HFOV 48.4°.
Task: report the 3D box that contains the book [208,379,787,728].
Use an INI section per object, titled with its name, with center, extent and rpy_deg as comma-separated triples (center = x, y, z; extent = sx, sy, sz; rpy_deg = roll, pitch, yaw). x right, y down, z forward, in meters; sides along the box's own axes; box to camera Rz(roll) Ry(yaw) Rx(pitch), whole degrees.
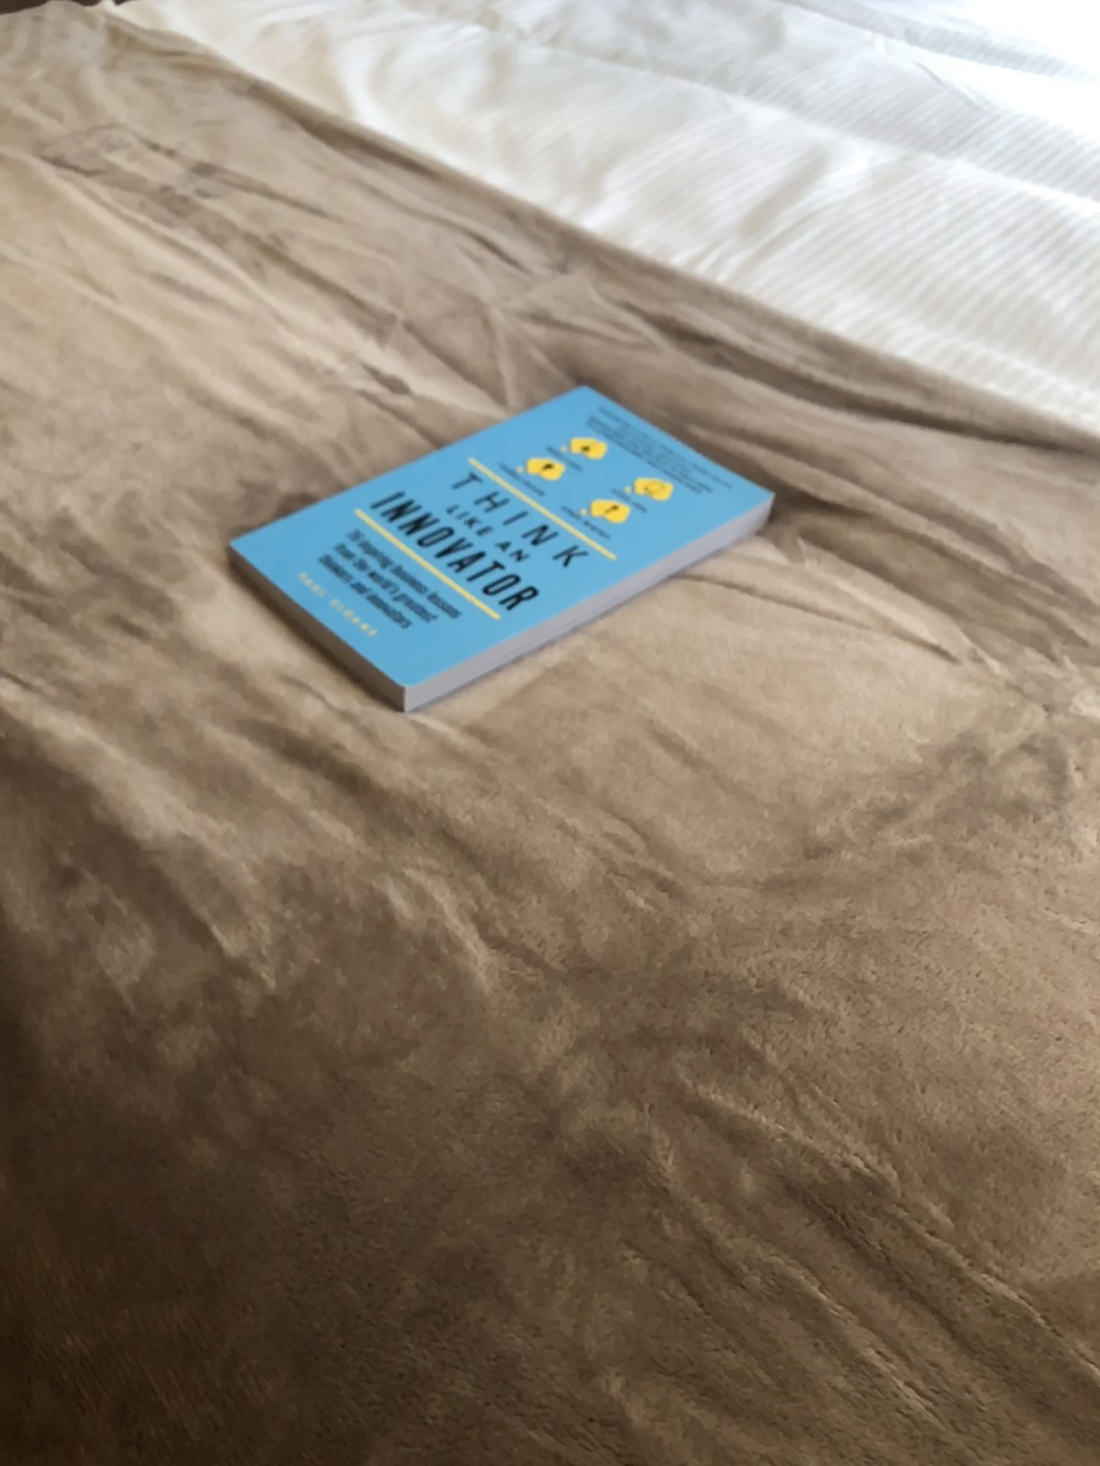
[book]
center = -0.020, -0.094, 0.554
extent = 0.221, 0.020, 0.140
rpy_deg = -30, 50, -29
